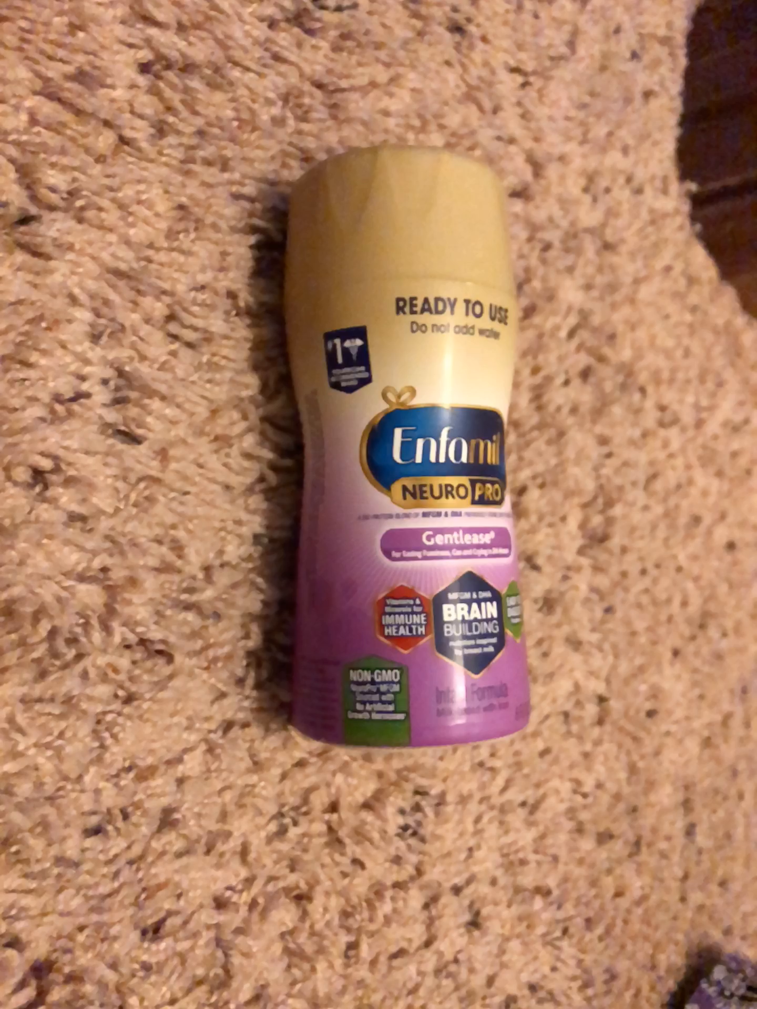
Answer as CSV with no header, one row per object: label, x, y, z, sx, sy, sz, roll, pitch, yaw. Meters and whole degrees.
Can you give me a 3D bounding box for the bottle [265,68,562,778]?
bottle,0.004,-0.017,0.216,0.060,0.060,0.150,0,88,-12
